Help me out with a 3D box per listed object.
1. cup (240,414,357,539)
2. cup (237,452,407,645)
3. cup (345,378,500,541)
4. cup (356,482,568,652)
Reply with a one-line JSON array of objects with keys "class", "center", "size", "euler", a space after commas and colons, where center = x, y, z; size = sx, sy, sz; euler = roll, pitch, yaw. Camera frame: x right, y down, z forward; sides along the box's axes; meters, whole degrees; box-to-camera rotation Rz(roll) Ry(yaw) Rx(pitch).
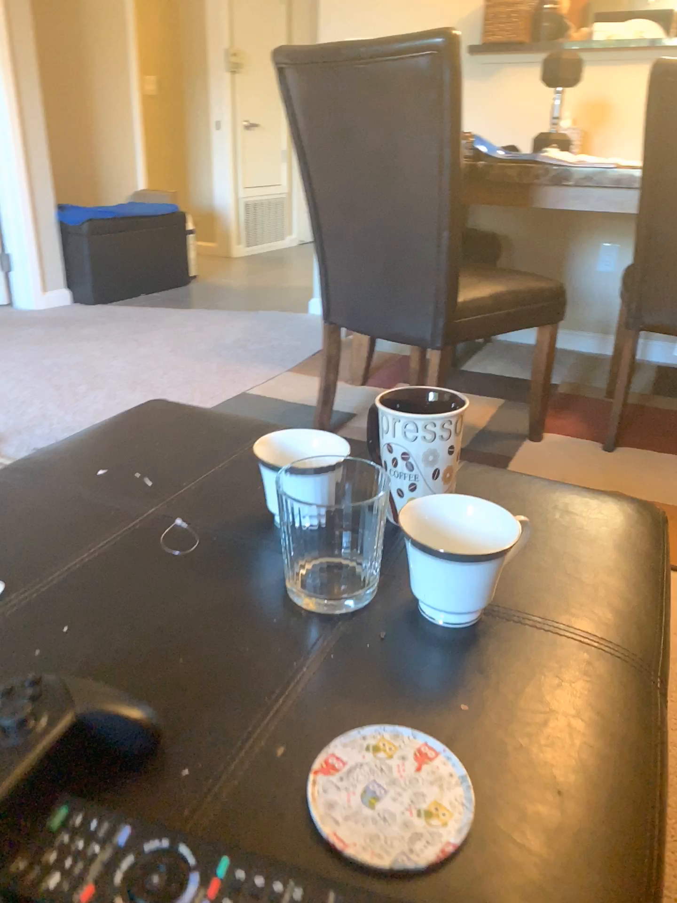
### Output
[{"class": "cup", "center": [-0.034, 0.020, 0.651], "size": [0.090, 0.070, 0.111], "euler": [4, 24, 6]}, {"class": "cup", "center": [-0.017, 0.073, 0.563], "size": [0.100, 0.099, 0.101], "euler": [1, 24, -1]}, {"class": "cup", "center": [0.075, 0.003, 0.661], "size": [0.100, 0.109, 0.101], "euler": [1, 24, -1]}, {"class": "cup", "center": [0.091, 0.083, 0.534], "size": [0.120, 0.060, 0.101], "euler": [-11, 27, -26]}]
